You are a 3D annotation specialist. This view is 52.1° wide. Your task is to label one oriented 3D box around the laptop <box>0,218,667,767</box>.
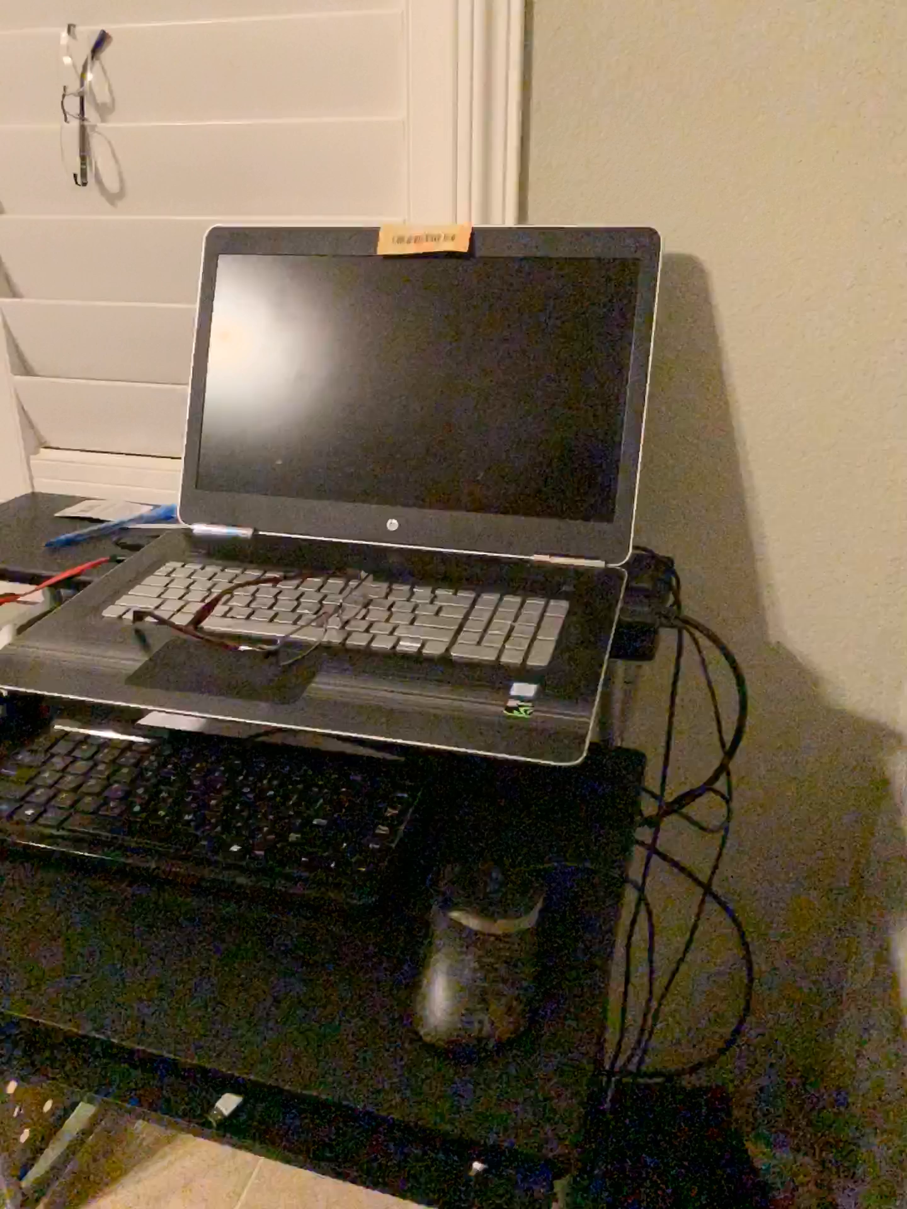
[{"bbox_3d":[-0.078,-0.142,0.734,0.433,0.263,0.421,6,26,14],"label":"laptop"}]
